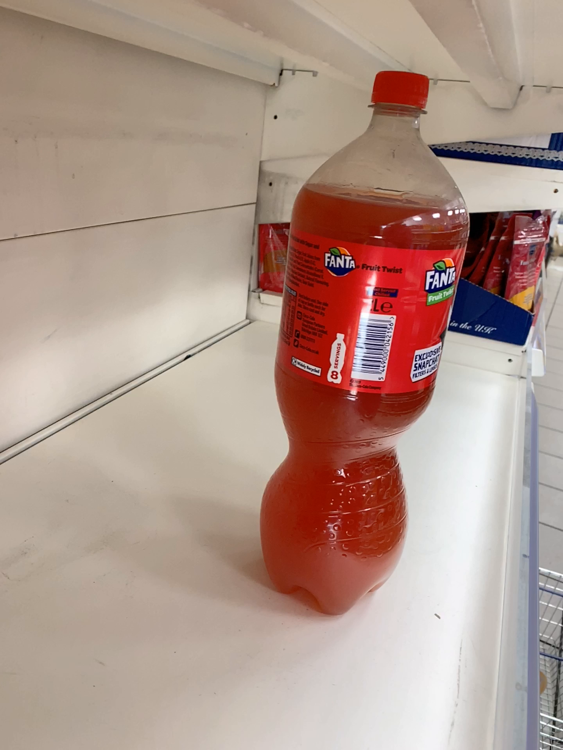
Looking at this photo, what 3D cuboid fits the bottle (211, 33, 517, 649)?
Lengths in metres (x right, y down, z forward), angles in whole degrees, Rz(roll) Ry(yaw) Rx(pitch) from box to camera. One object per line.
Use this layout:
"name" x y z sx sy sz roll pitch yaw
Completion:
"bottle" 0.040 -0.013 0.363 0.110 0.327 0.121 6 22 -2
